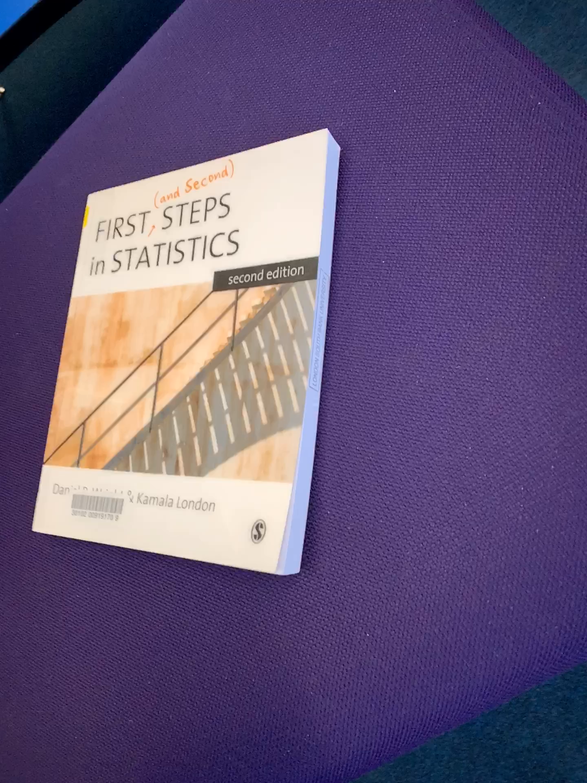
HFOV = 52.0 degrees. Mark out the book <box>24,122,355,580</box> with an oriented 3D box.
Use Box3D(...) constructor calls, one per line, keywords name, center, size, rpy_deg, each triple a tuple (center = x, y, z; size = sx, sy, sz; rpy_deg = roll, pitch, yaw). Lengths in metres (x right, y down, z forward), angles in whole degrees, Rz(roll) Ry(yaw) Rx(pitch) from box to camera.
Box3D(name="book", center=(-0.064, -0.024, 0.346), size=(0.189, 0.022, 0.229), rpy_deg=(-1, 76, 31))
